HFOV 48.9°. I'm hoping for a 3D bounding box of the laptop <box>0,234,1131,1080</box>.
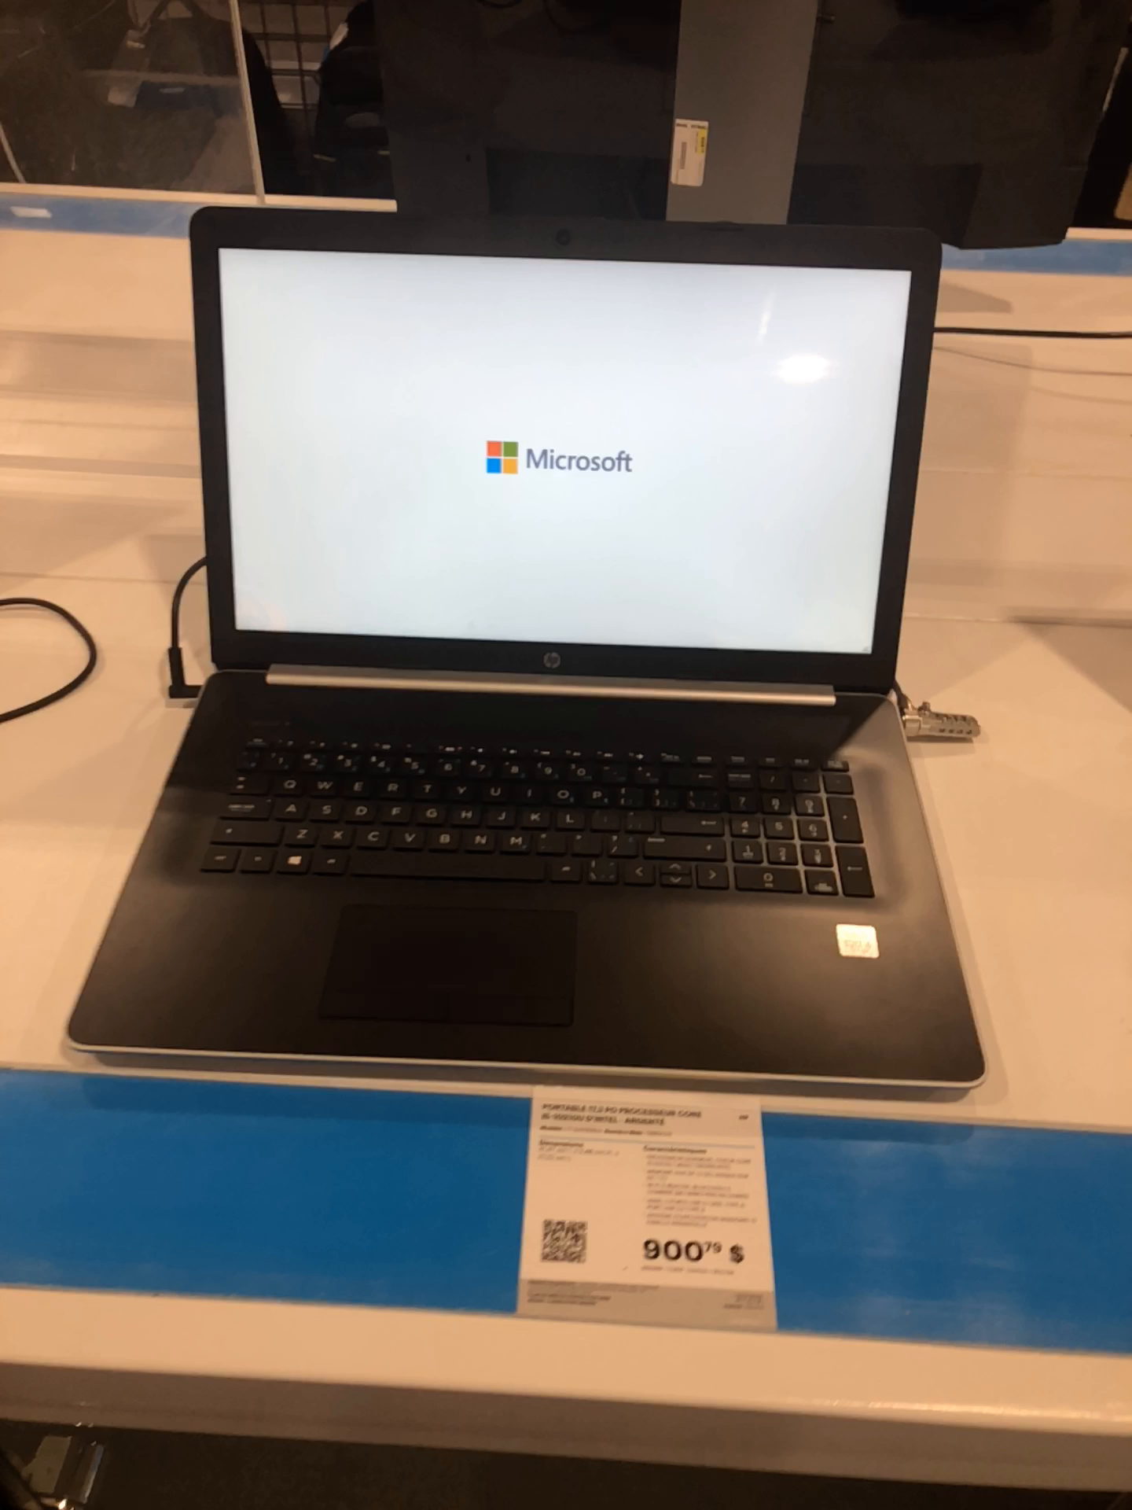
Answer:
[{"bbox_3d":[-0.013,-0.074,0.631,0.410,0.242,0.382,2,40,1],"label":"laptop"}]
